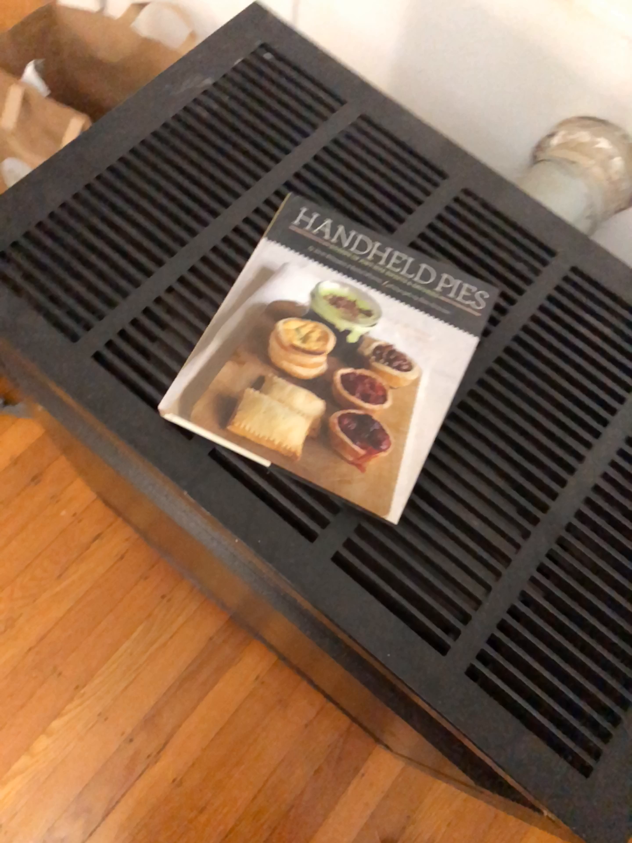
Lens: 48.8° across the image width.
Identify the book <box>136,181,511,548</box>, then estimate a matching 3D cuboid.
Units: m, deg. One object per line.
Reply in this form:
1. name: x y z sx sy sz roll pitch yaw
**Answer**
1. book: 0.014 -0.054 0.524 0.200 0.020 0.231 25 68 5
